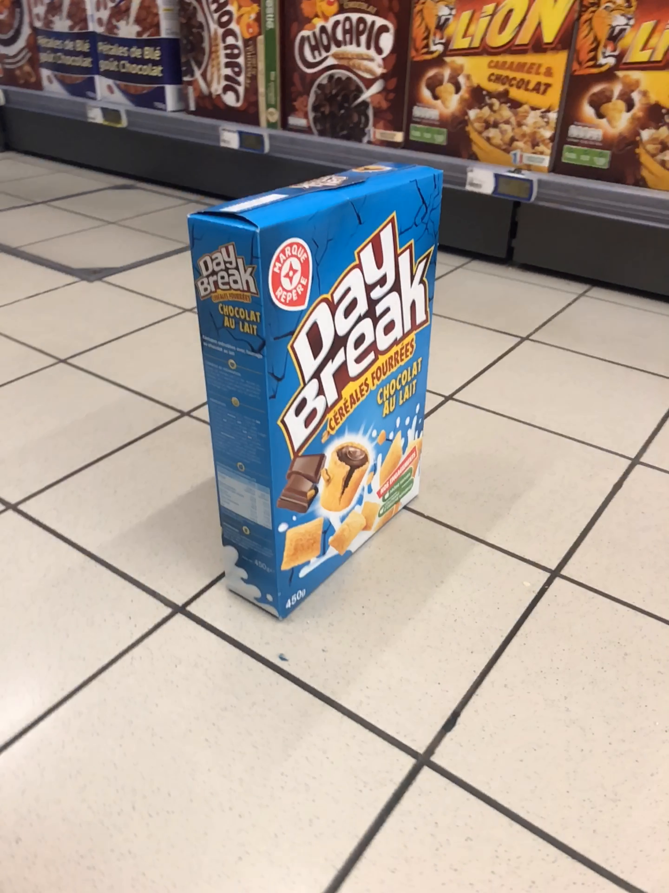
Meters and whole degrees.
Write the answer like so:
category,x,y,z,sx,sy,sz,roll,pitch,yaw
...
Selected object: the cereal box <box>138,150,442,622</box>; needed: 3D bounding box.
category,x,y,z,sx,sy,sz,roll,pitch,yaw
cereal box,-0.015,-0.049,0.505,0.070,0.258,0.201,20,36,31
